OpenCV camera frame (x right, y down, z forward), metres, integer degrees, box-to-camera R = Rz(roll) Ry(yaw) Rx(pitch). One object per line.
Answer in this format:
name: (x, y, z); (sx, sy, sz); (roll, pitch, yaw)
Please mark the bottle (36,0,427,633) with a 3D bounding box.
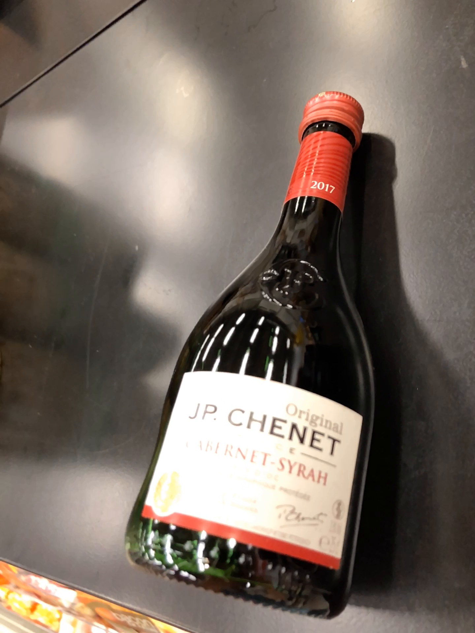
bottle: (0.010, -0.015, 0.177); (0.070, 0.060, 0.200); (-6, 63, 40)
